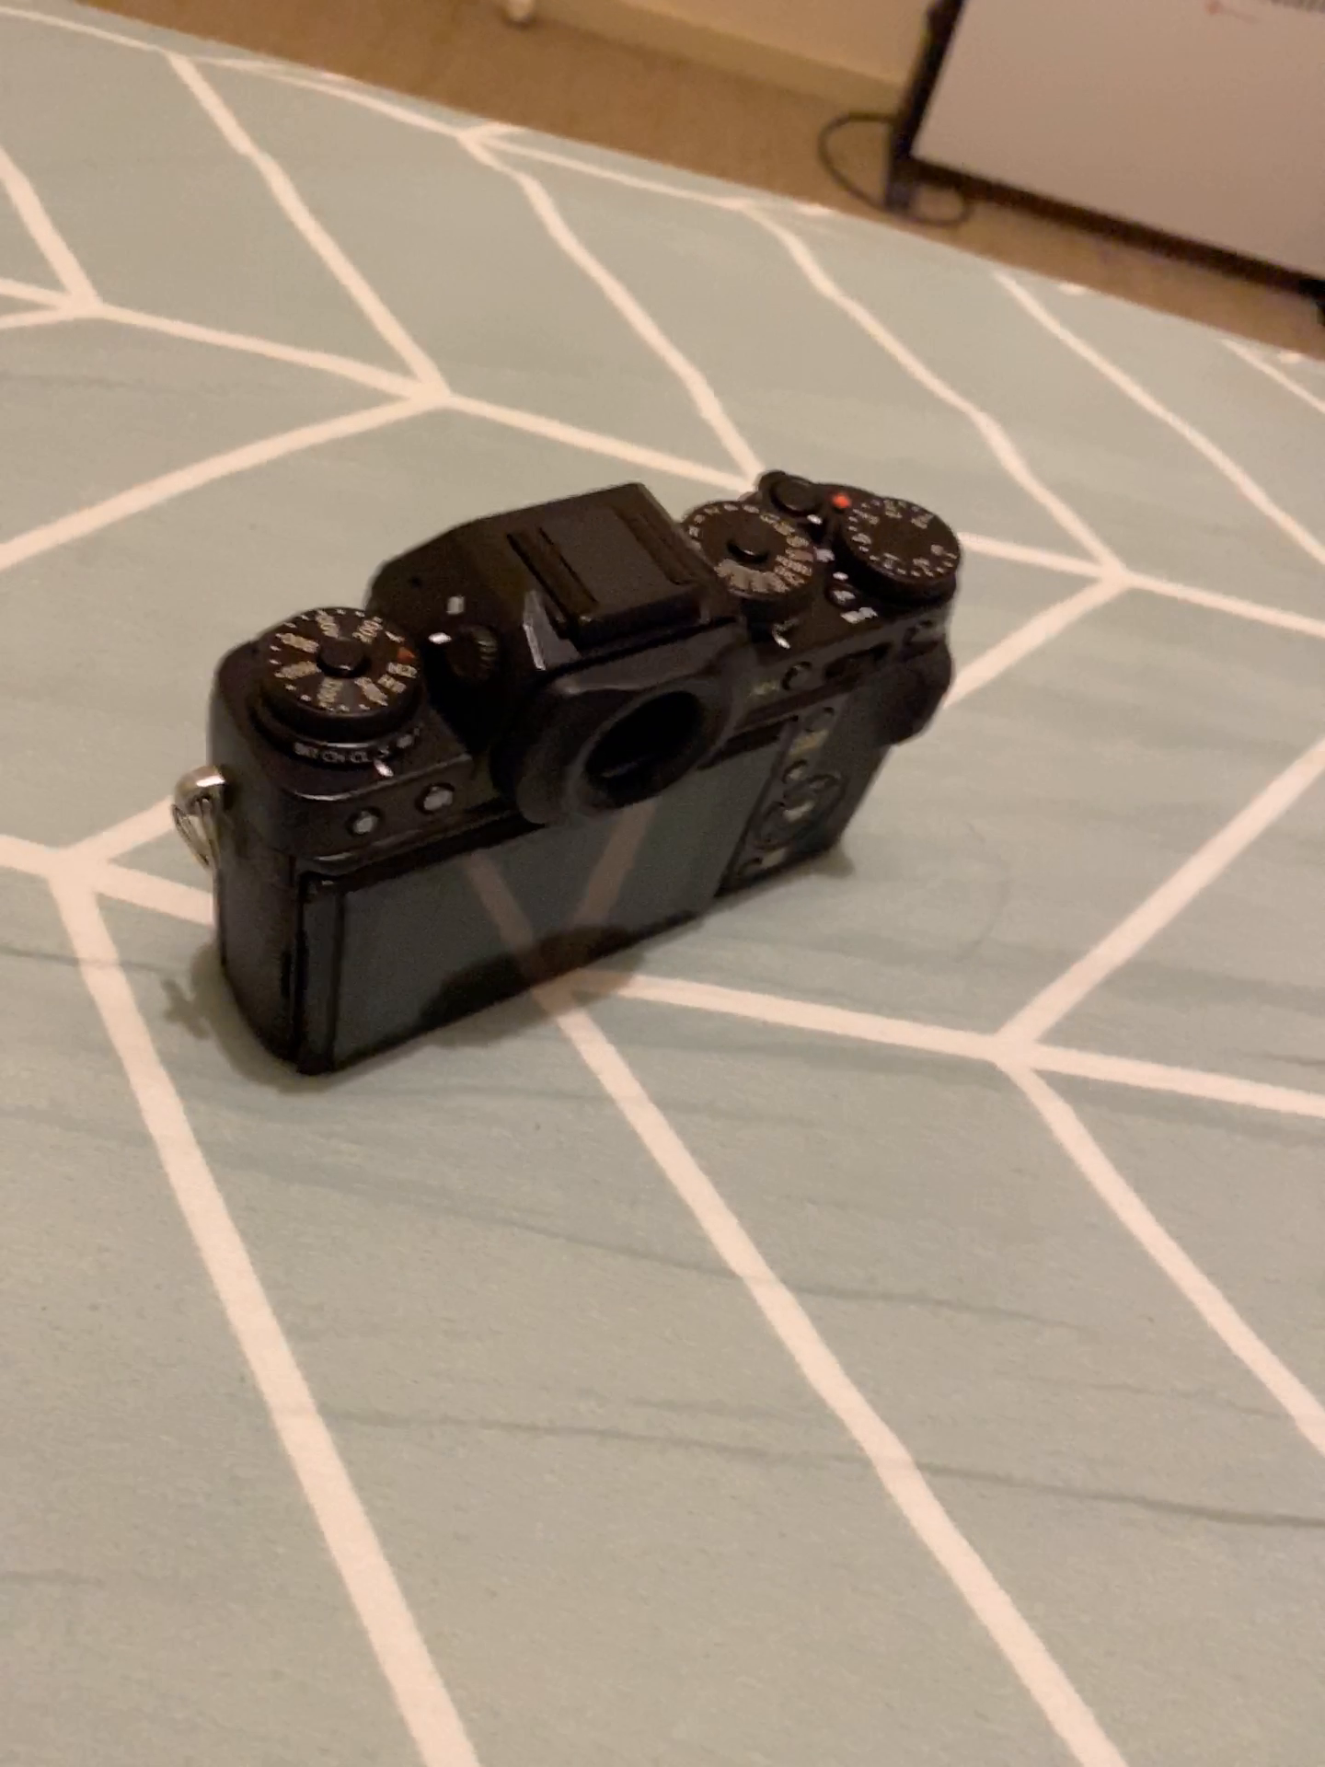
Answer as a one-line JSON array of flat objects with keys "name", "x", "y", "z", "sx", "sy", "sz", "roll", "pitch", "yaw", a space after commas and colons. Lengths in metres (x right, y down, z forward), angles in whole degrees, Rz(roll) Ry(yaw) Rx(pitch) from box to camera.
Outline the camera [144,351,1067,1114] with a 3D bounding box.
[{"name": "camera", "x": -0.011, "y": -0.028, "z": 0.235, "sx": 0.130, "sy": 0.087, "sz": 0.052, "roll": -22, "pitch": 62, "yaw": -29}]
